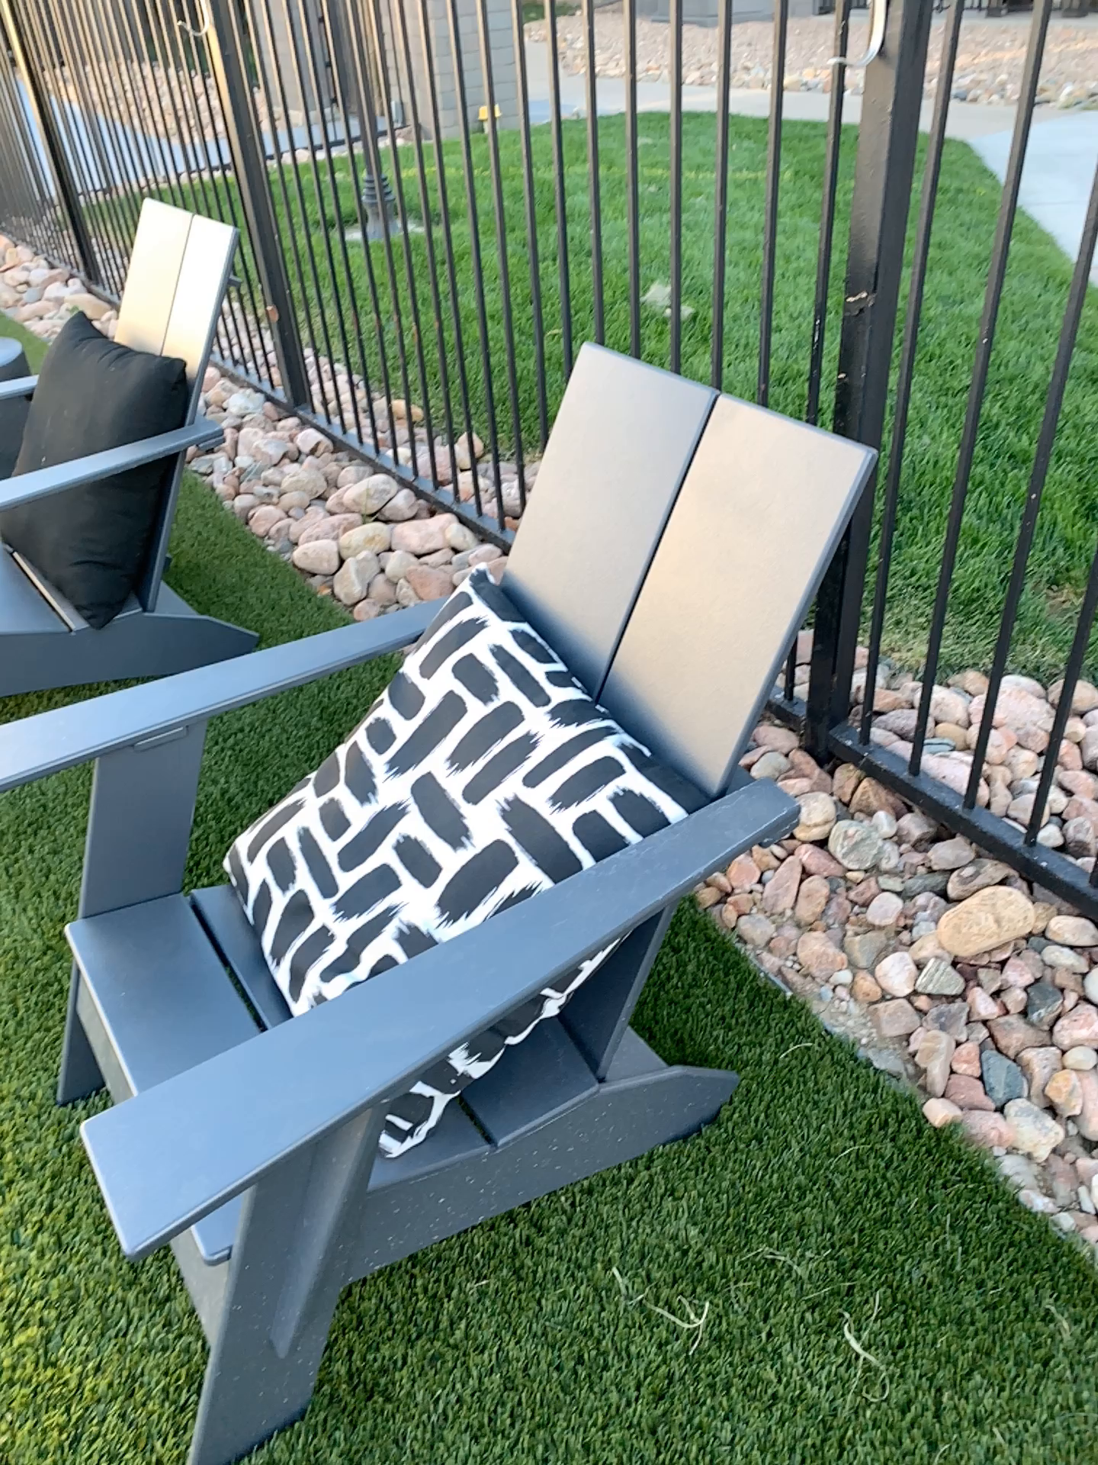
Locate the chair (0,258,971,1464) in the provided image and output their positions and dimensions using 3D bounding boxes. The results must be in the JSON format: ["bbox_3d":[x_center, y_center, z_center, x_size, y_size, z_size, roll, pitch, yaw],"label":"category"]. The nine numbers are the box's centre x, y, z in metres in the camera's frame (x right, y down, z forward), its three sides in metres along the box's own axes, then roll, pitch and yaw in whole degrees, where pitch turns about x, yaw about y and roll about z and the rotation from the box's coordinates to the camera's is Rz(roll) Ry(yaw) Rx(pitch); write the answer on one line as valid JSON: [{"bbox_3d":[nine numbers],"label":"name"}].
[{"bbox_3d":[-0.181,0.081,1.142,0.881,0.806,0.623,-23,40,-23],"label":"chair"}]
